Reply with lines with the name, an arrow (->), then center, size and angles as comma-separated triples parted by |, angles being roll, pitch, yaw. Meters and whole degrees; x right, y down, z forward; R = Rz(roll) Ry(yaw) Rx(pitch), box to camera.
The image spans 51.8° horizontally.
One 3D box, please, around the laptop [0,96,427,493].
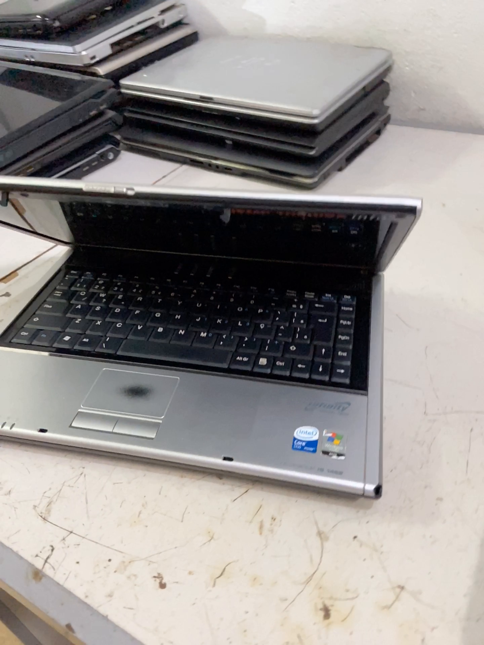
laptop -> -0.057, -0.047, 0.372 | 0.330, 0.164, 0.228 | 6, 41, 12
